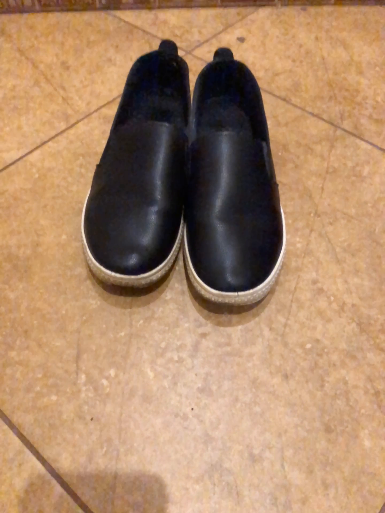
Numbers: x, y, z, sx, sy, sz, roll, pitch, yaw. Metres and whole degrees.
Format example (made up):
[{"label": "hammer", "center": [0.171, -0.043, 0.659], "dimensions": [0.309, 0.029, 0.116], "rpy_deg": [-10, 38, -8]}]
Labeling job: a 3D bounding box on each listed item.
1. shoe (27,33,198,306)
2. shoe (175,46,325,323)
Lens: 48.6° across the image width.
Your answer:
[{"label": "shoe", "center": [-0.050, -0.085, 0.358], "dimensions": [0.090, 0.070, 0.241], "rpy_deg": [4, 56, 1]}, {"label": "shoe", "center": [0.035, -0.071, 0.352], "dimensions": [0.090, 0.070, 0.241], "rpy_deg": [1, 56, -1]}]
